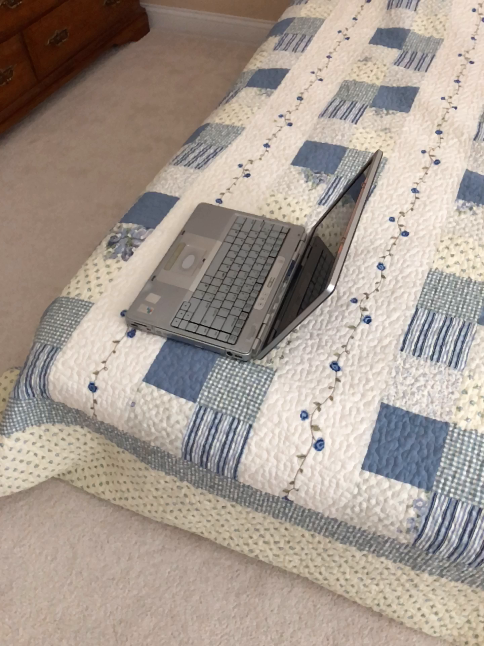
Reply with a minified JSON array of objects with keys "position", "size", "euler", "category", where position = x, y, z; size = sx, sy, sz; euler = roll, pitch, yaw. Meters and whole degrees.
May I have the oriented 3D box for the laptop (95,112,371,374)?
[{"position":[0.006,-0.146,0.887],"size":[0.326,0.193,0.323],"euler":[16,53,13],"category":"laptop"}]
